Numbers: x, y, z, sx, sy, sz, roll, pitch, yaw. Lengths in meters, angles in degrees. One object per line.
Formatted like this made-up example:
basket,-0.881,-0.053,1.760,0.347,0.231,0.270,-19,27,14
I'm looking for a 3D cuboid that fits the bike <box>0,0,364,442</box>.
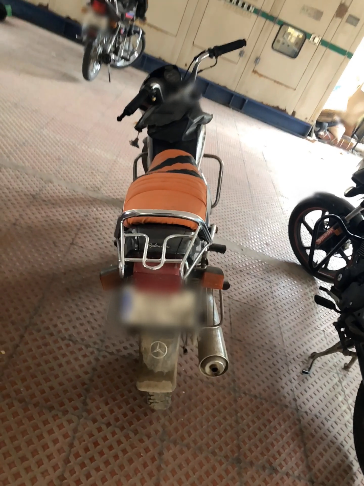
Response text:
bike,-0.156,-0.236,1.620,0.688,1.124,1.409,17,31,-14
